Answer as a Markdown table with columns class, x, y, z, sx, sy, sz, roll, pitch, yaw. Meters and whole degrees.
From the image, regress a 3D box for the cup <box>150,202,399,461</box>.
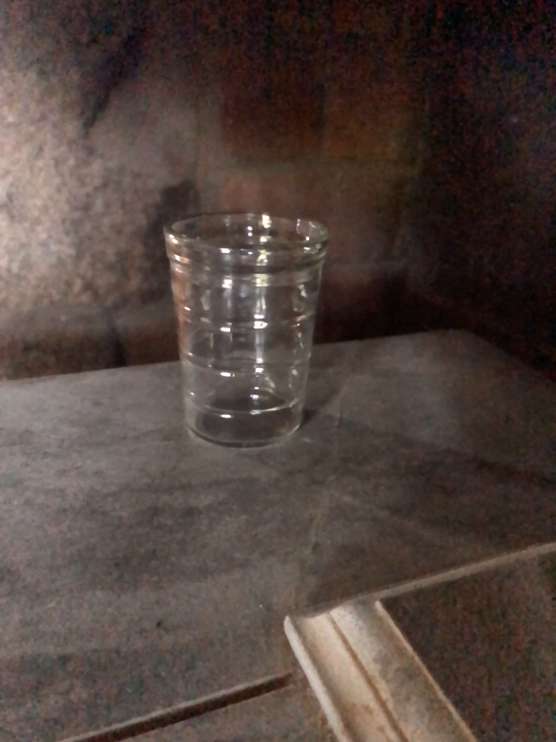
| class | x | y | z | sx | sy | sz | roll | pitch | yaw |
| --- | --- | --- | --- | --- | --- | --- | --- | --- | --- |
| cup | -0.002 | -0.023 | 0.262 | 0.070 | 0.080 | 0.070 | 1 | 23 | -1 |
